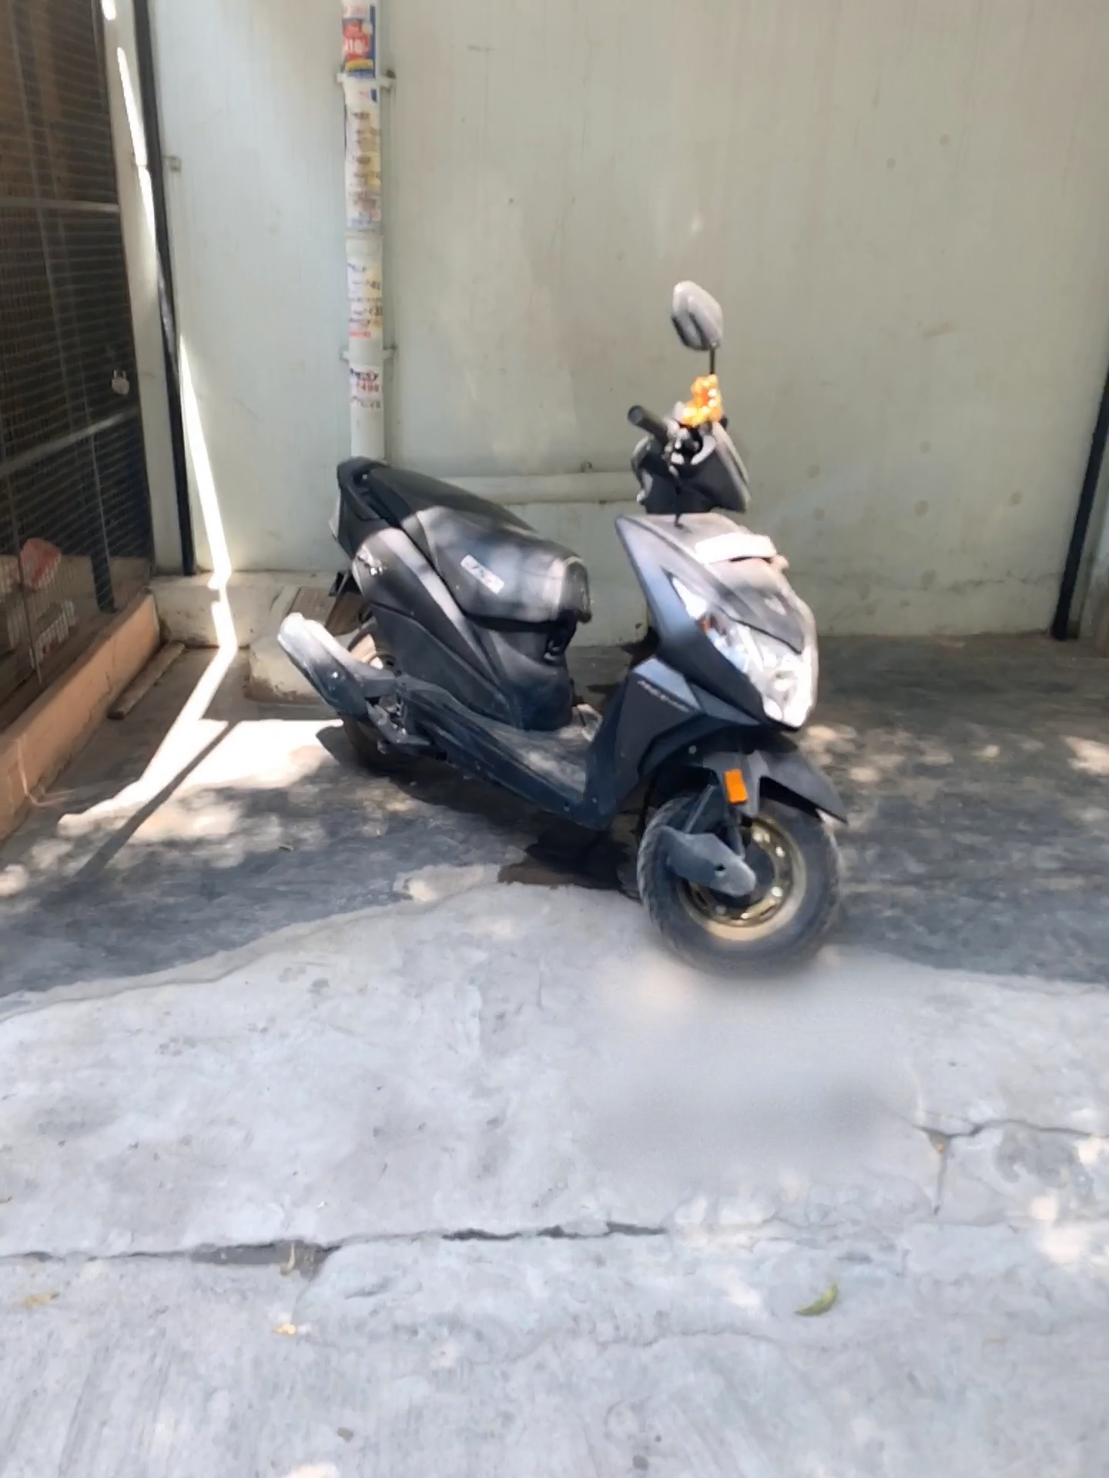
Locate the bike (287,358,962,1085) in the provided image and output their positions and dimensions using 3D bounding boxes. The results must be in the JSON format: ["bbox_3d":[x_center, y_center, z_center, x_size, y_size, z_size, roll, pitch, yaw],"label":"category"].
[{"bbox_3d":[0.057,-0.158,2.783,1.512,1.279,0.503,22,30,36],"label":"bike"}]
